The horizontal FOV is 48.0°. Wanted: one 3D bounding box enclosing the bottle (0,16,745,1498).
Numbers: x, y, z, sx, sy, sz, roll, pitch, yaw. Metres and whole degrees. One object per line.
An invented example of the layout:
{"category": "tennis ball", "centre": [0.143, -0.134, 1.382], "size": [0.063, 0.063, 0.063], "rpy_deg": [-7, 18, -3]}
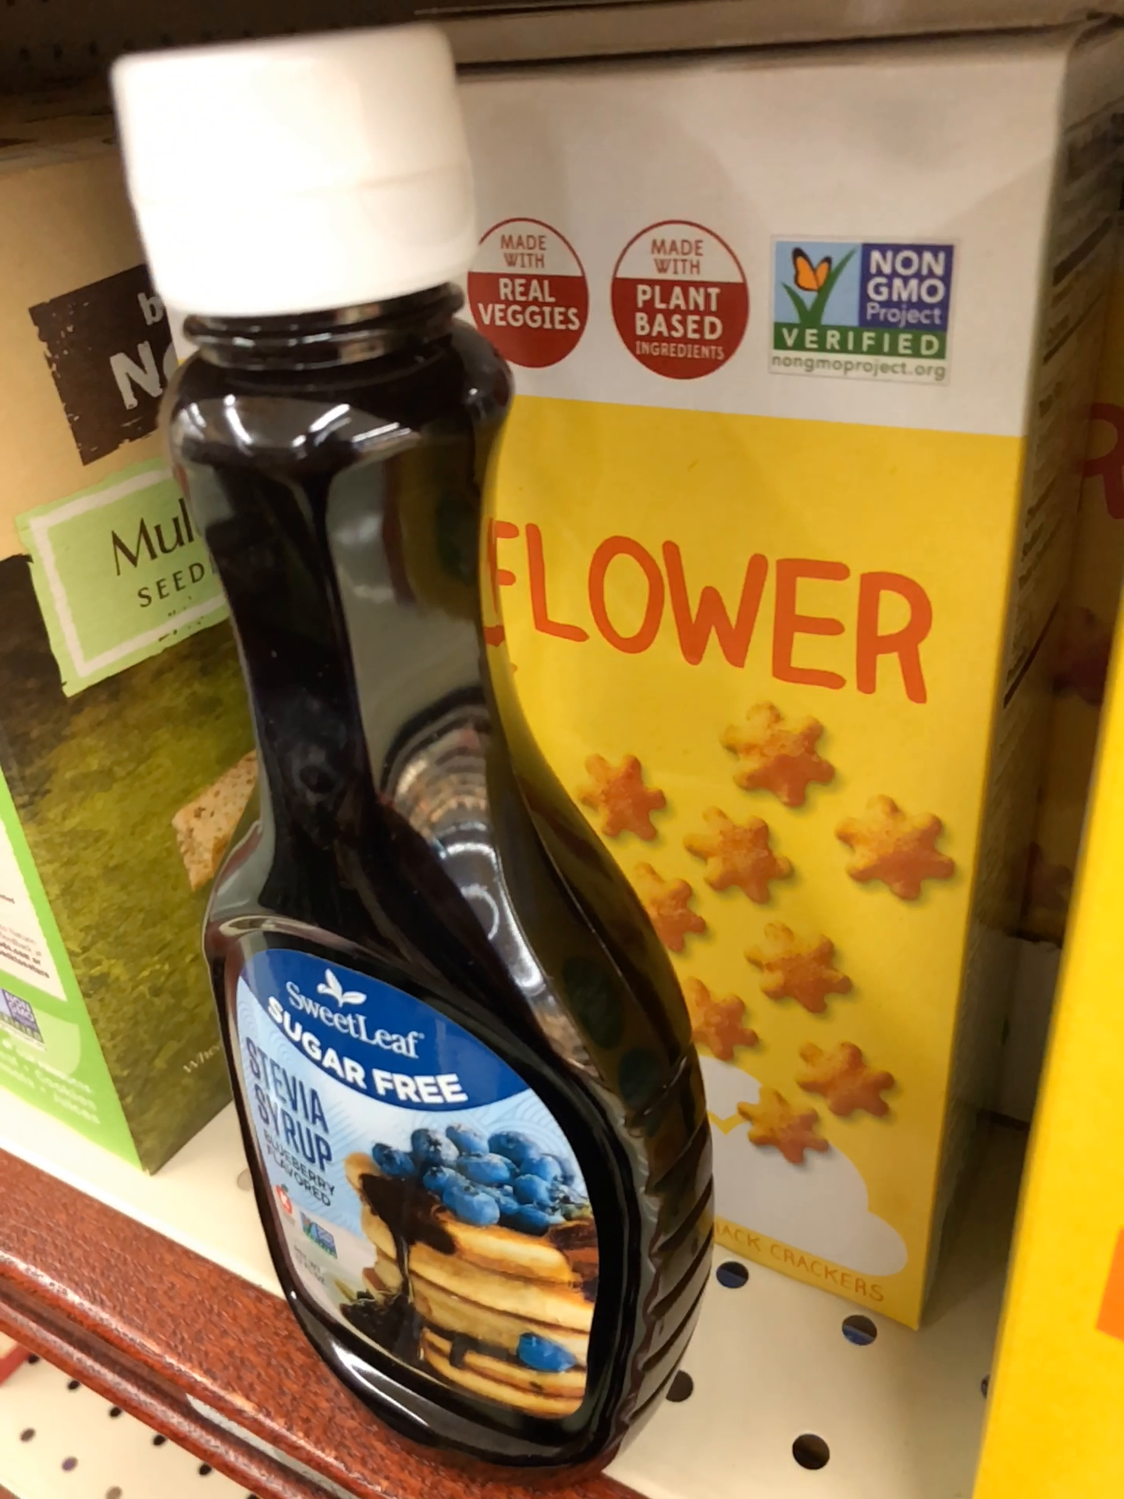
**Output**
{"category": "bottle", "centre": [-0.023, 0.020, 0.171], "size": [0.080, 0.199, 0.050], "rpy_deg": [16, 38, 31]}
